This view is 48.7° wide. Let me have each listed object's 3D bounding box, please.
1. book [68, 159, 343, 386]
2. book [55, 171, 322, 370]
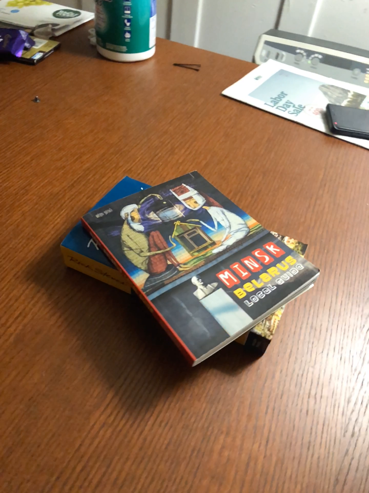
[{"bbox_3d":[0.013,0.001,0.357,0.150,0.020,0.191,-27,55,-29],"label":"book"},{"bbox_3d":[0.007,0.010,0.402,0.220,0.040,0.131,22,47,14],"label":"book"}]
